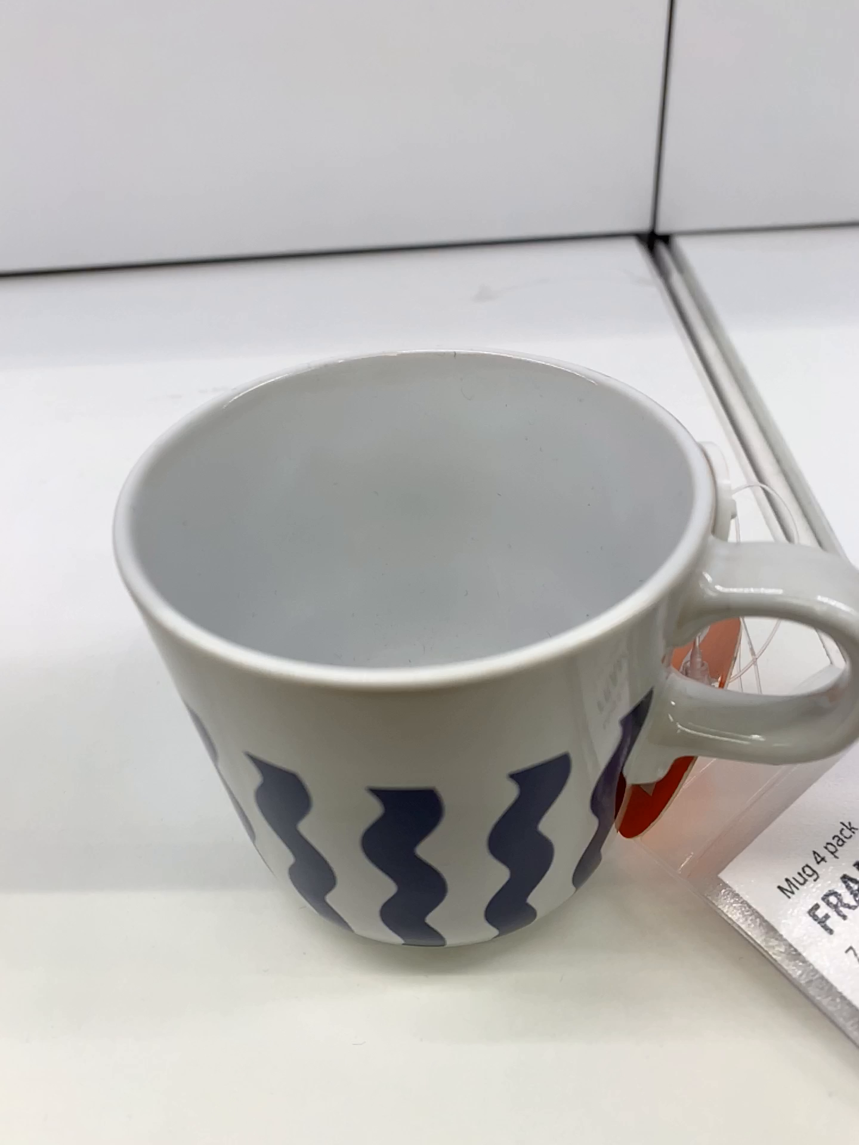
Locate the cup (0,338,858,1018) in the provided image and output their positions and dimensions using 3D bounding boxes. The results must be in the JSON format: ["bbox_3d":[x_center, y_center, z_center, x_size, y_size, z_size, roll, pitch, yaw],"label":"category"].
[{"bbox_3d":[0.008,0.015,0.143,0.101,0.071,0.076,-2,38,4],"label":"cup"}]
